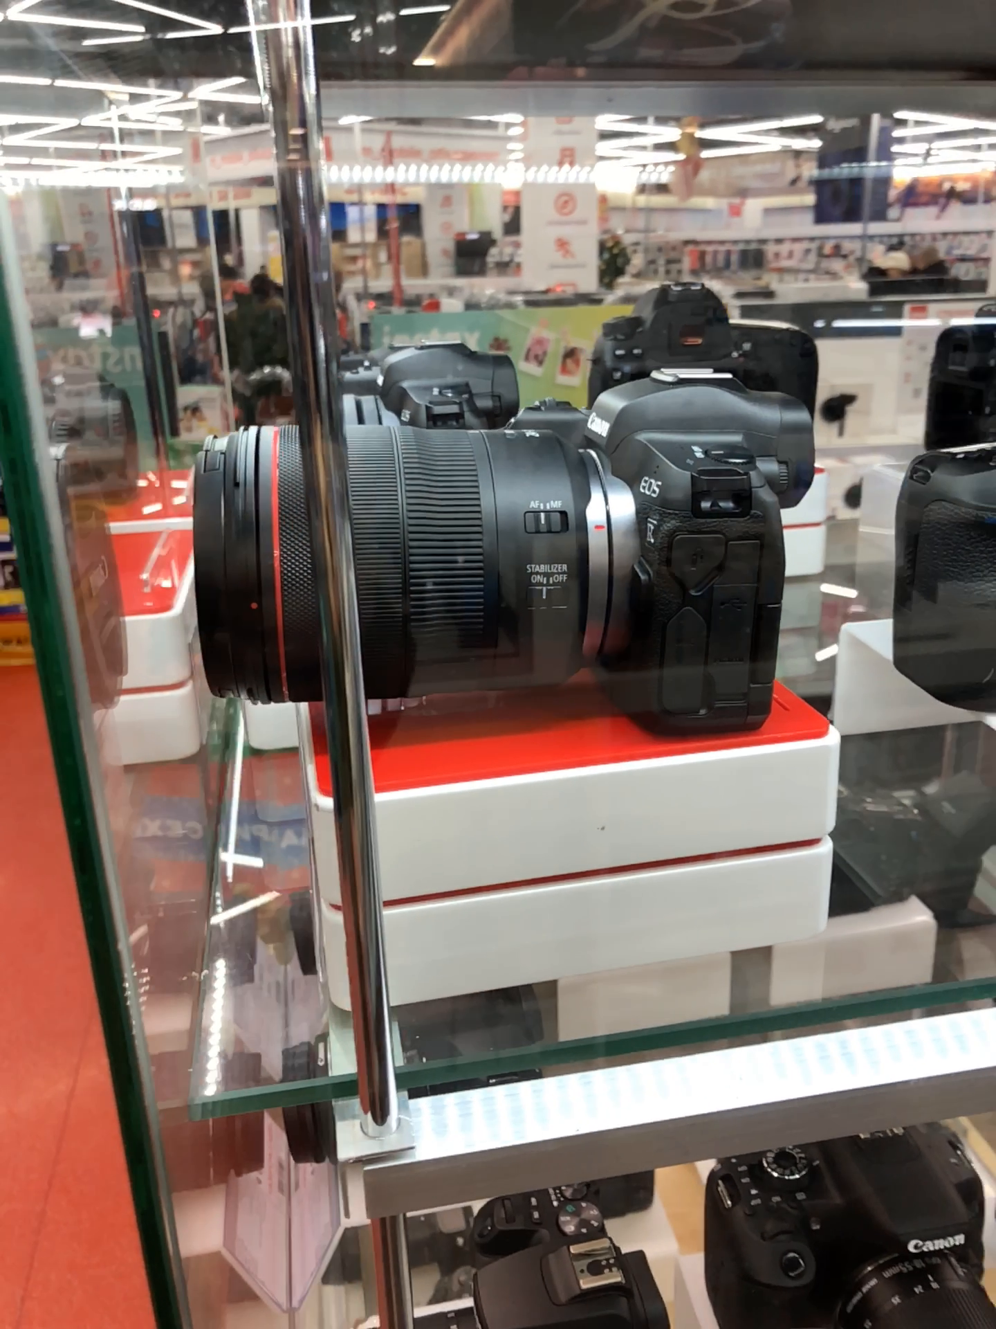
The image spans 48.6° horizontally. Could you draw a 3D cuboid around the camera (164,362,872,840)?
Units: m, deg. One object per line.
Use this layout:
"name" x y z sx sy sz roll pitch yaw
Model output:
"camera" -0.001 -0.034 0.364 0.183 0.110 0.141 -5 20 -9
